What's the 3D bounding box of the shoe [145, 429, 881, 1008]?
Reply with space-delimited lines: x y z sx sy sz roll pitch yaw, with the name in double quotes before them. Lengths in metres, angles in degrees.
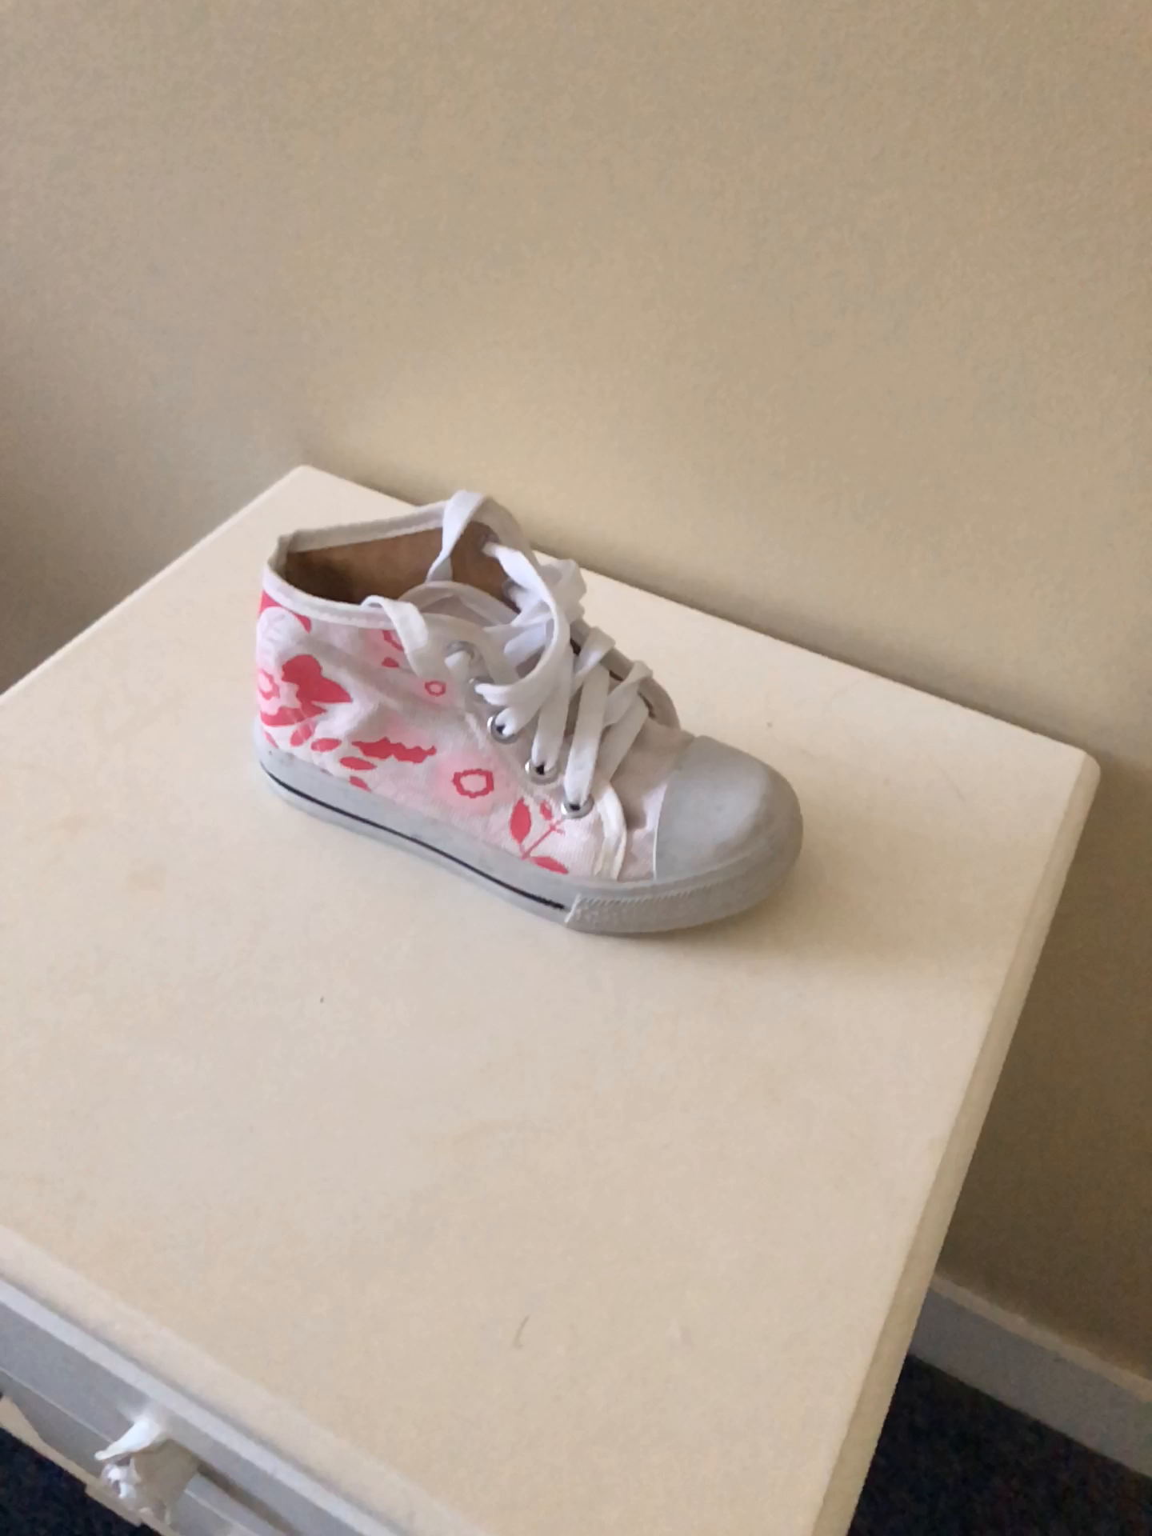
"shoe" -0.019 -0.019 0.391 0.190 0.099 0.081 18 46 14
